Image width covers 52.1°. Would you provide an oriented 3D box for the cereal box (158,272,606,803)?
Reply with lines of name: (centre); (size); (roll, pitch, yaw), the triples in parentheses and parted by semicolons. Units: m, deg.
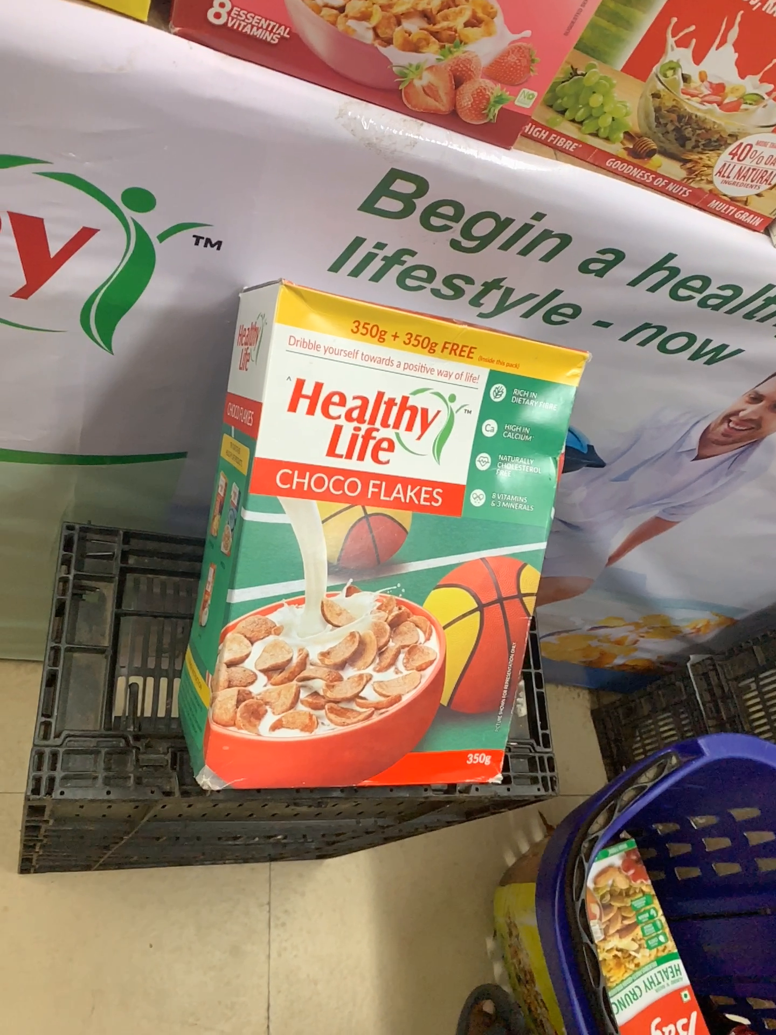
cereal box: (-0.011, 0.019, 0.485); (0.210, 0.090, 0.280); (6, 100, -22)
